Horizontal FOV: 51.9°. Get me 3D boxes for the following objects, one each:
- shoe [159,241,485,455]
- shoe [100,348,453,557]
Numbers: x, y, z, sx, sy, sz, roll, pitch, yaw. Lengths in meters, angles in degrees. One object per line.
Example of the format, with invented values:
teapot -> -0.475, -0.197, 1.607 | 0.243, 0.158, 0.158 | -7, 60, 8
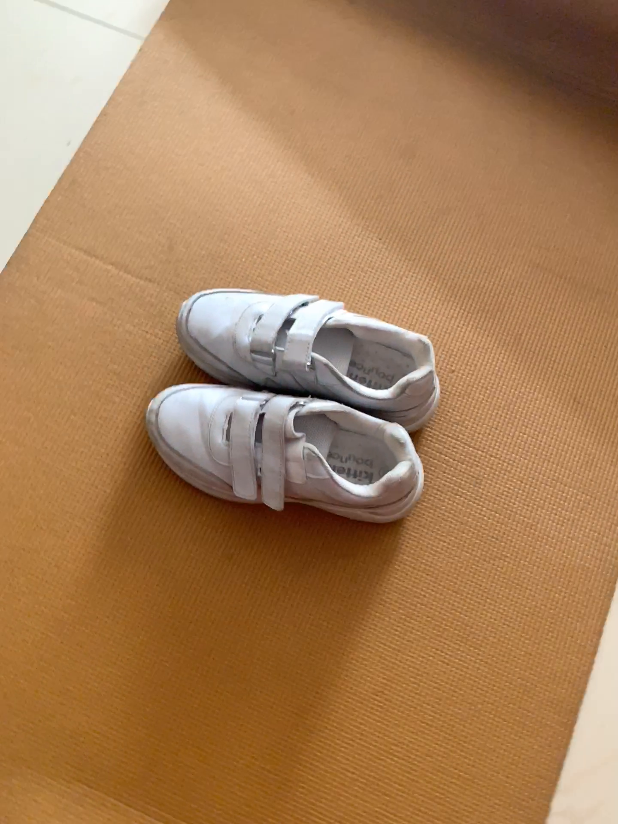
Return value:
shoe -> 0.009, -0.049, 0.545 | 0.240, 0.100, 0.090 | 17, 76, 0
shoe -> -0.024, 0.036, 0.512 | 0.250, 0.070, 0.090 | 17, 76, 0
